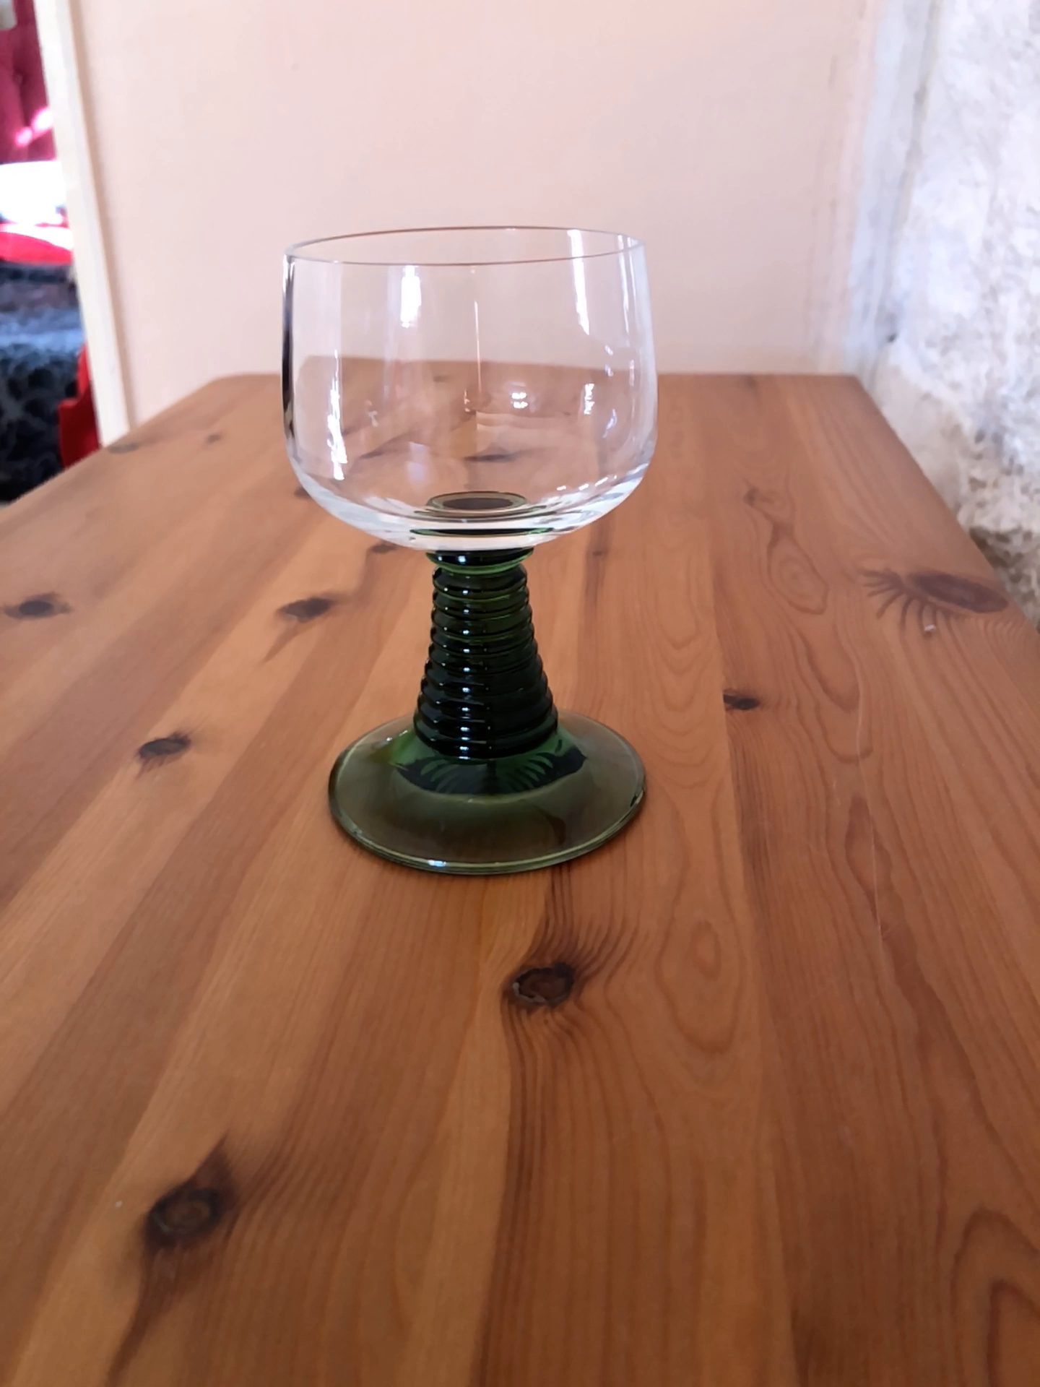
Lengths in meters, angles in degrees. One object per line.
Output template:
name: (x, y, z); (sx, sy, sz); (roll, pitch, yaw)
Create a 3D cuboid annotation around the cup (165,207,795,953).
cup: (-0.007, -0.028, 0.213); (0.074, 0.106, 0.074); (-1, 26, 0)
